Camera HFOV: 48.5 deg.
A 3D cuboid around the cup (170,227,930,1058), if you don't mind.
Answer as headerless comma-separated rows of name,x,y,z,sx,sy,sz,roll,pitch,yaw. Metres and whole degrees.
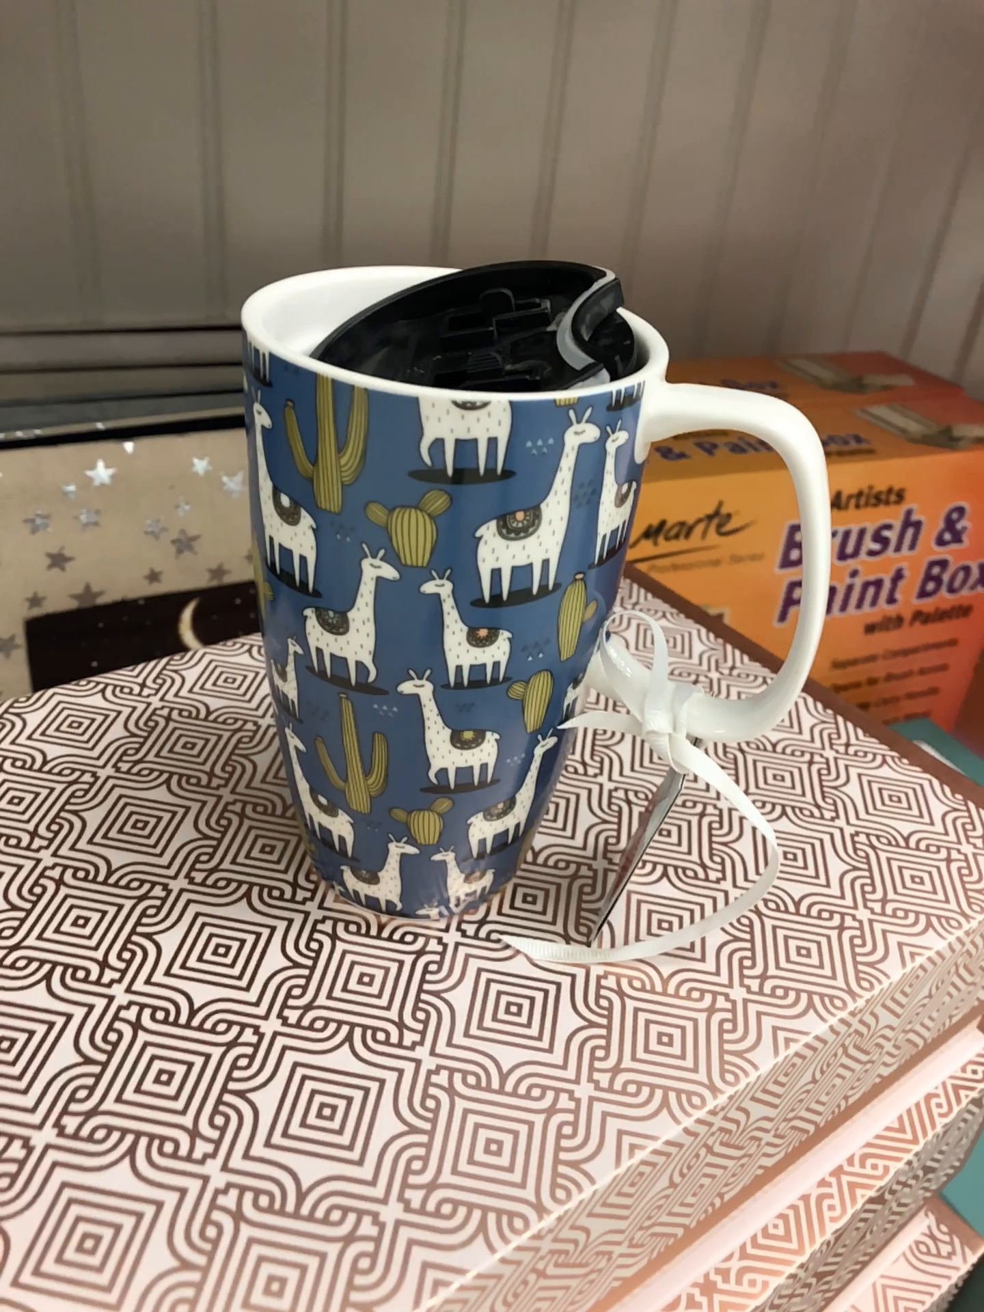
cup,0.011,-0.008,0.248,0.125,0.138,0.090,13,33,11
